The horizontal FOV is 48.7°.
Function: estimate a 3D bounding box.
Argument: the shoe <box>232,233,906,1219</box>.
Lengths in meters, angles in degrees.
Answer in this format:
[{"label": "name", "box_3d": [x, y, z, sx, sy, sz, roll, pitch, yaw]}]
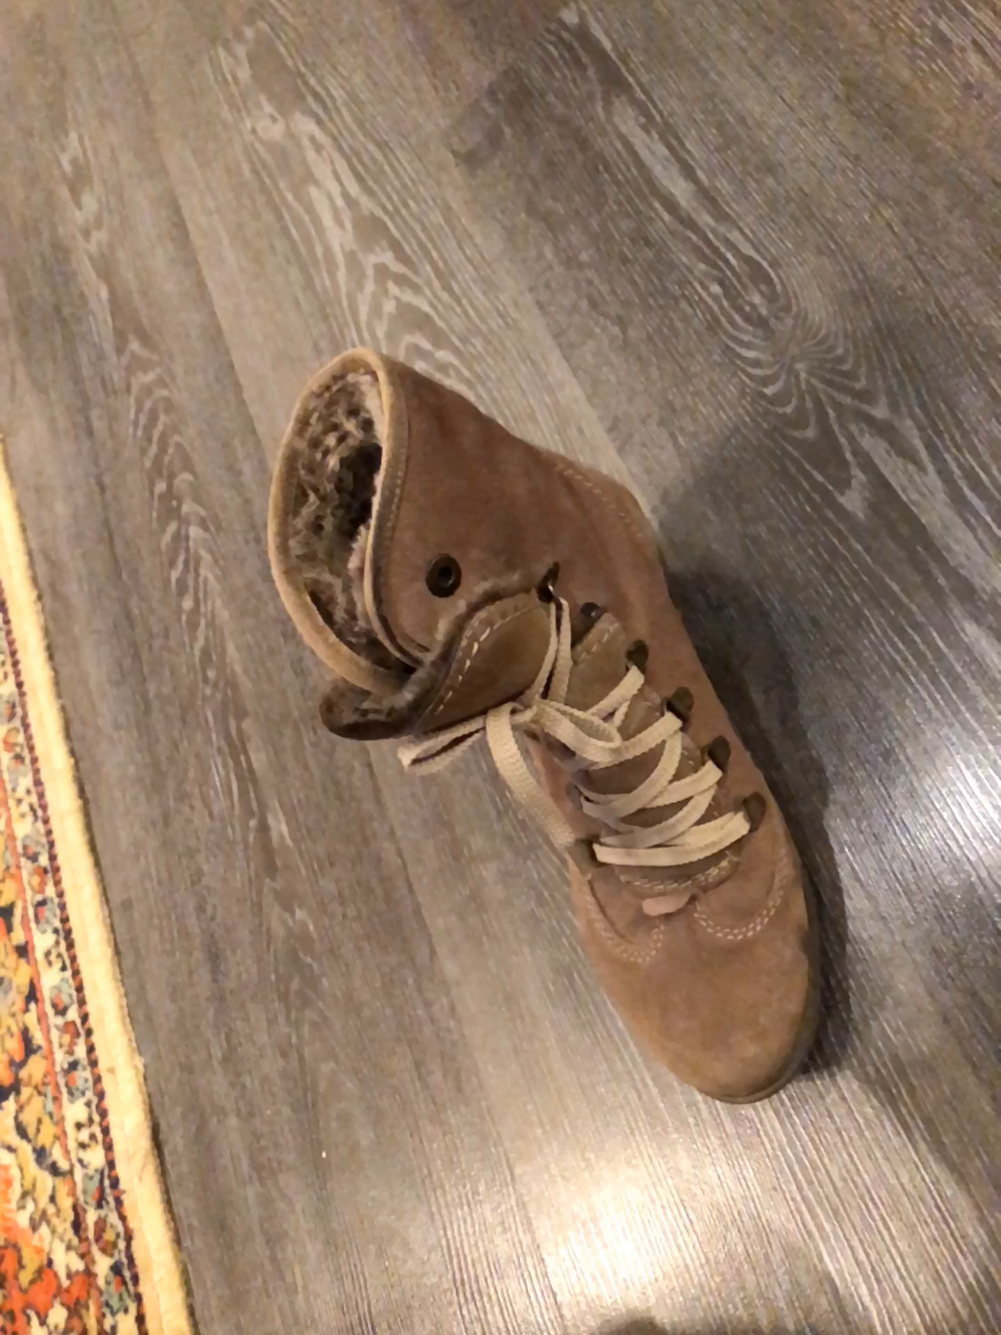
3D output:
[{"label": "shoe", "box_3d": [0.024, 0.029, 0.360, 0.100, 0.189, 0.241, -21, 65, 30]}]
